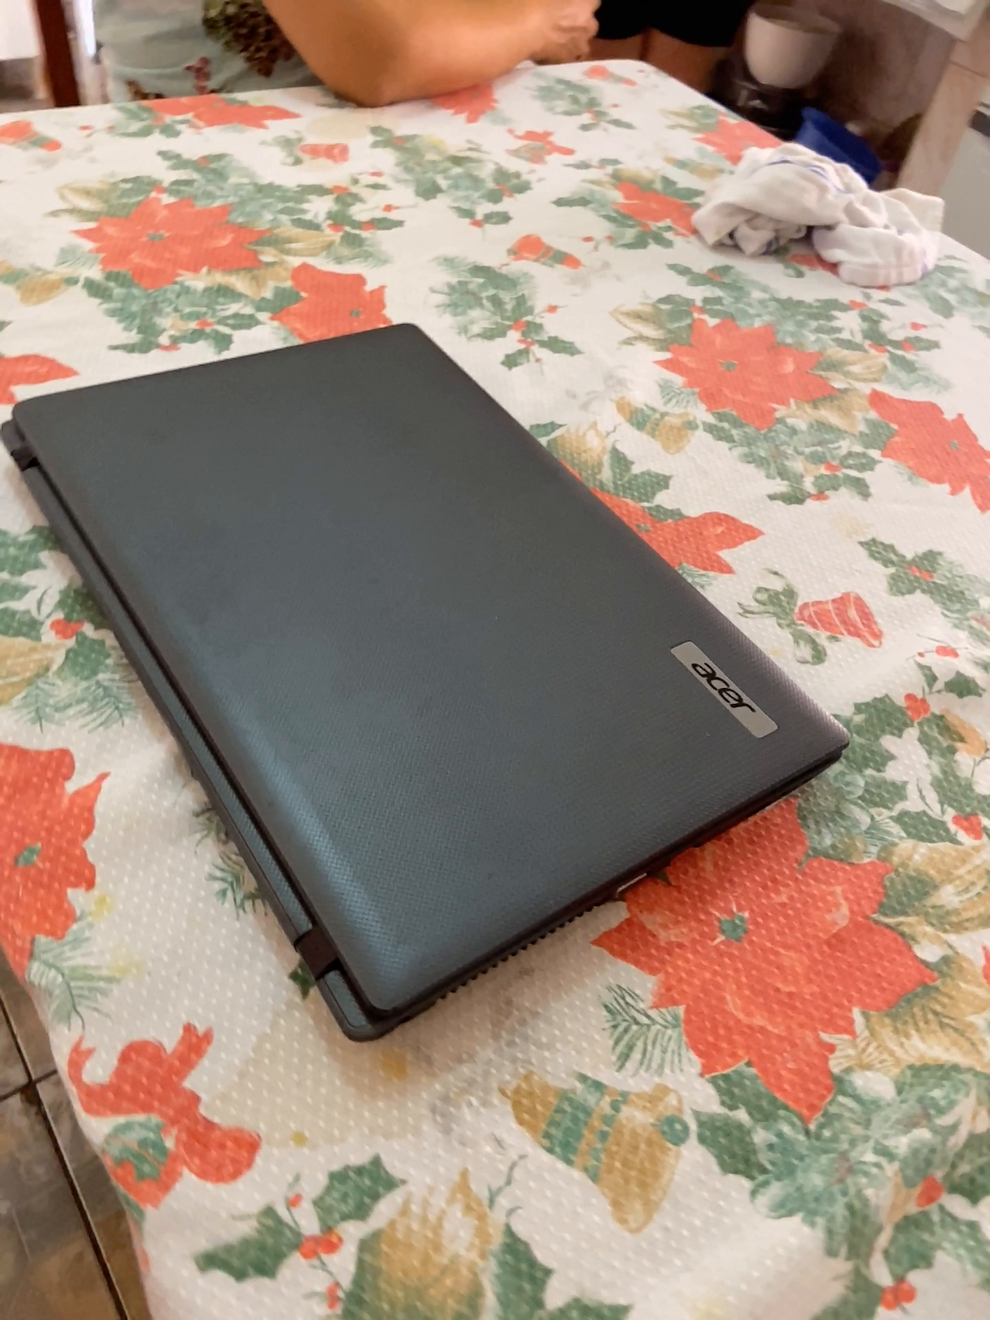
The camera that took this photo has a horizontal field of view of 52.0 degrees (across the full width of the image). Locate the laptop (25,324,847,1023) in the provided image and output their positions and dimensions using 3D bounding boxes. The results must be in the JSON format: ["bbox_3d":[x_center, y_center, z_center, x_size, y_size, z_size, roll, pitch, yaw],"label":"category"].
[{"bbox_3d":[-0.041,-0.042,0.461,0.223,0.001,0.351,-23,56,-27],"label":"laptop"}]
